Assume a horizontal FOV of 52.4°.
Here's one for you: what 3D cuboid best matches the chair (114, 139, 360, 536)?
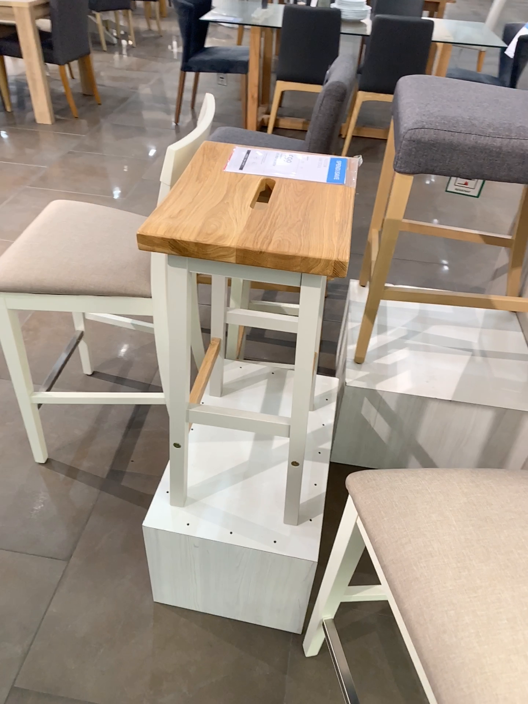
[{"bbox_3d":[-0.030,-0.017,1.072,0.321,0.638,0.401,9,40,6],"label":"chair"}]

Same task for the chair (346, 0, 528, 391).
[{"bbox_3d":[0.555,-0.460,1.336,0.531,0.984,0.471,8,40,5],"label":"chair"}]

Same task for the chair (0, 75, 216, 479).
[{"bbox_3d":[-0.406,-0.153,1.448,0.501,0.954,0.441,4,39,0],"label":"chair"}]

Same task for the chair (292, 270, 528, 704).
[{"bbox_3d":[0.386,0.411,0.830,0.511,0.944,0.421,-6,40,-12],"label":"chair"}]
